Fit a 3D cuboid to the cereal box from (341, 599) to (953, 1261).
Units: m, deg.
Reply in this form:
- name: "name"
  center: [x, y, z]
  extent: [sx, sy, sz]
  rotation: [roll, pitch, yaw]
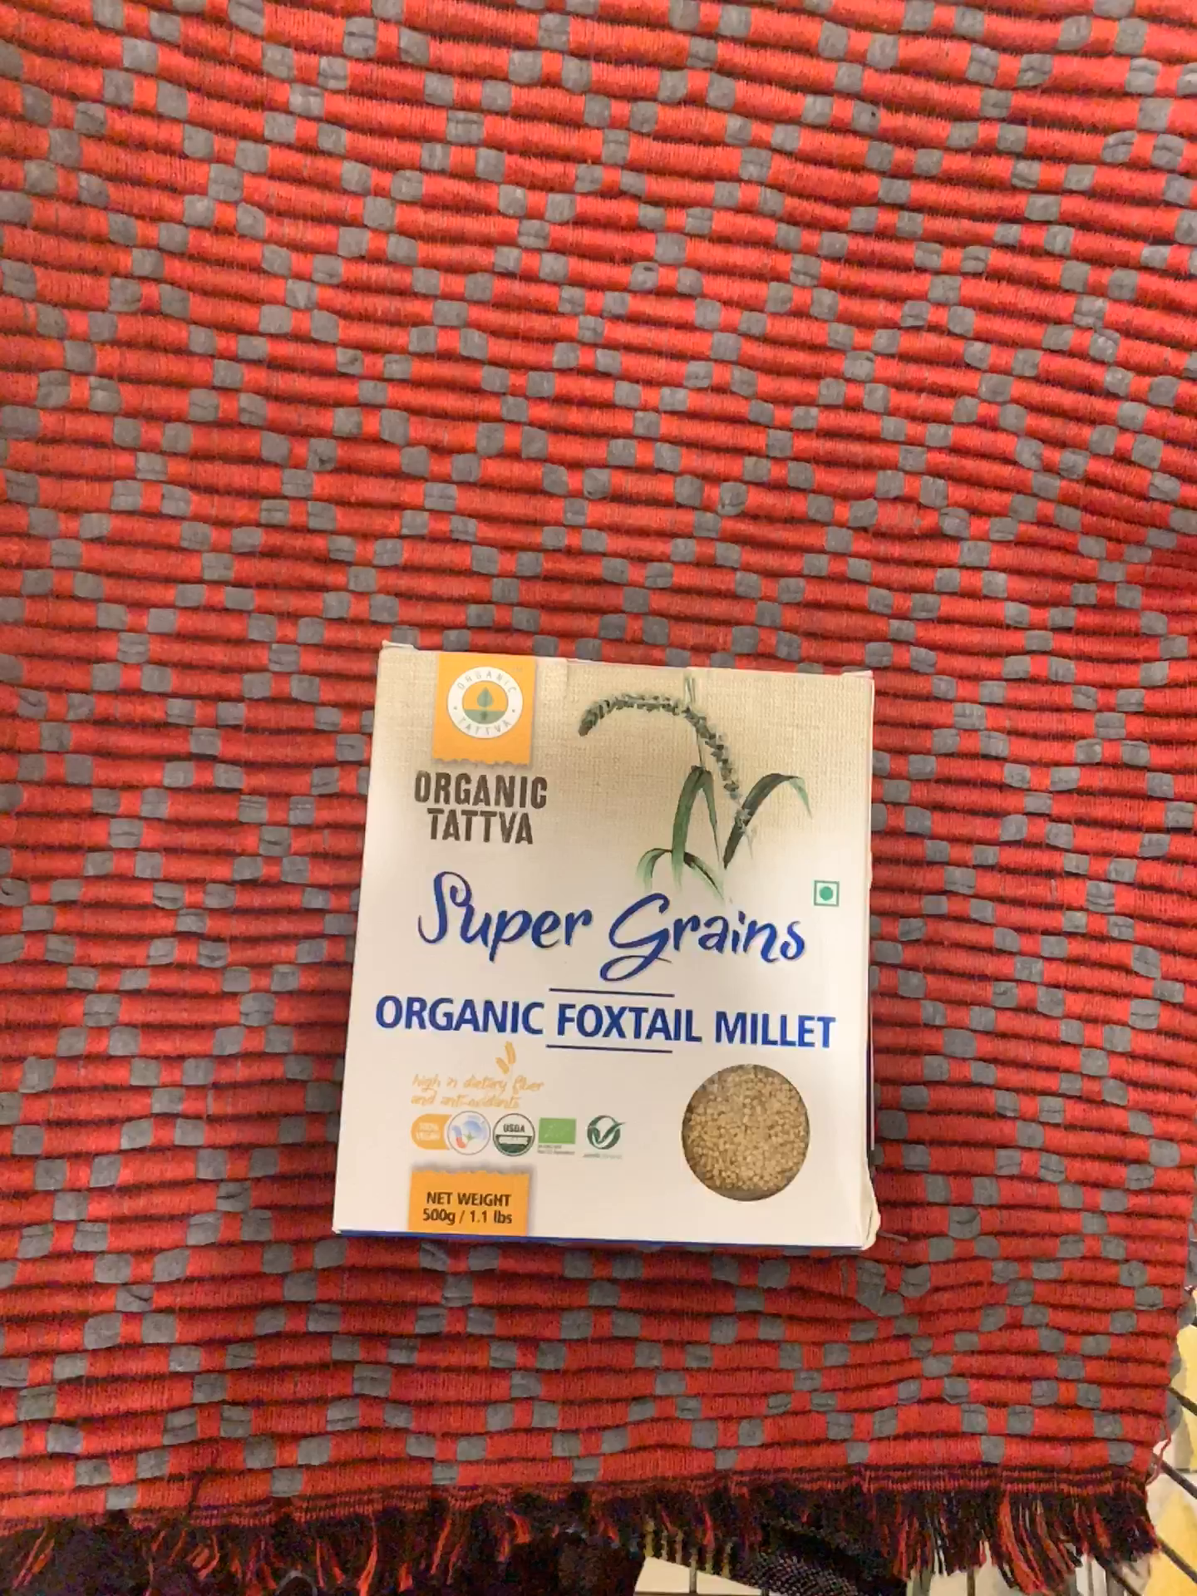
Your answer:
- name: "cereal box"
  center: [0.013, 0.033, 0.323]
  extent: [0.140, 0.060, 0.150]
  rotation: [3, 81, -2]
